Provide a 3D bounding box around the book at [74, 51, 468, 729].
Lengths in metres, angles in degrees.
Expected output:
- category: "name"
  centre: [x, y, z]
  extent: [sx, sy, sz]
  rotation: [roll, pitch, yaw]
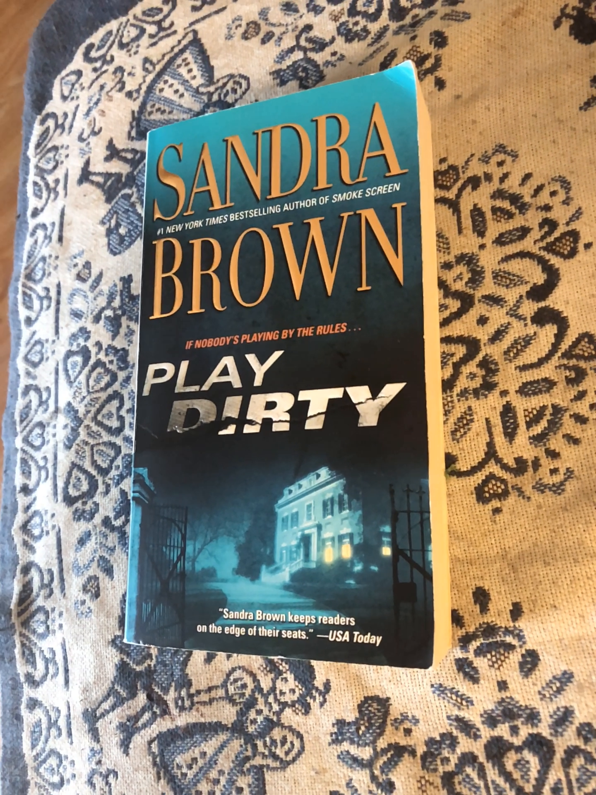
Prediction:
- category: "book"
  centre: [-0.010, -0.003, 0.212]
  extent: [0.110, 0.040, 0.180]
  rotation: [-5, 79, 22]
